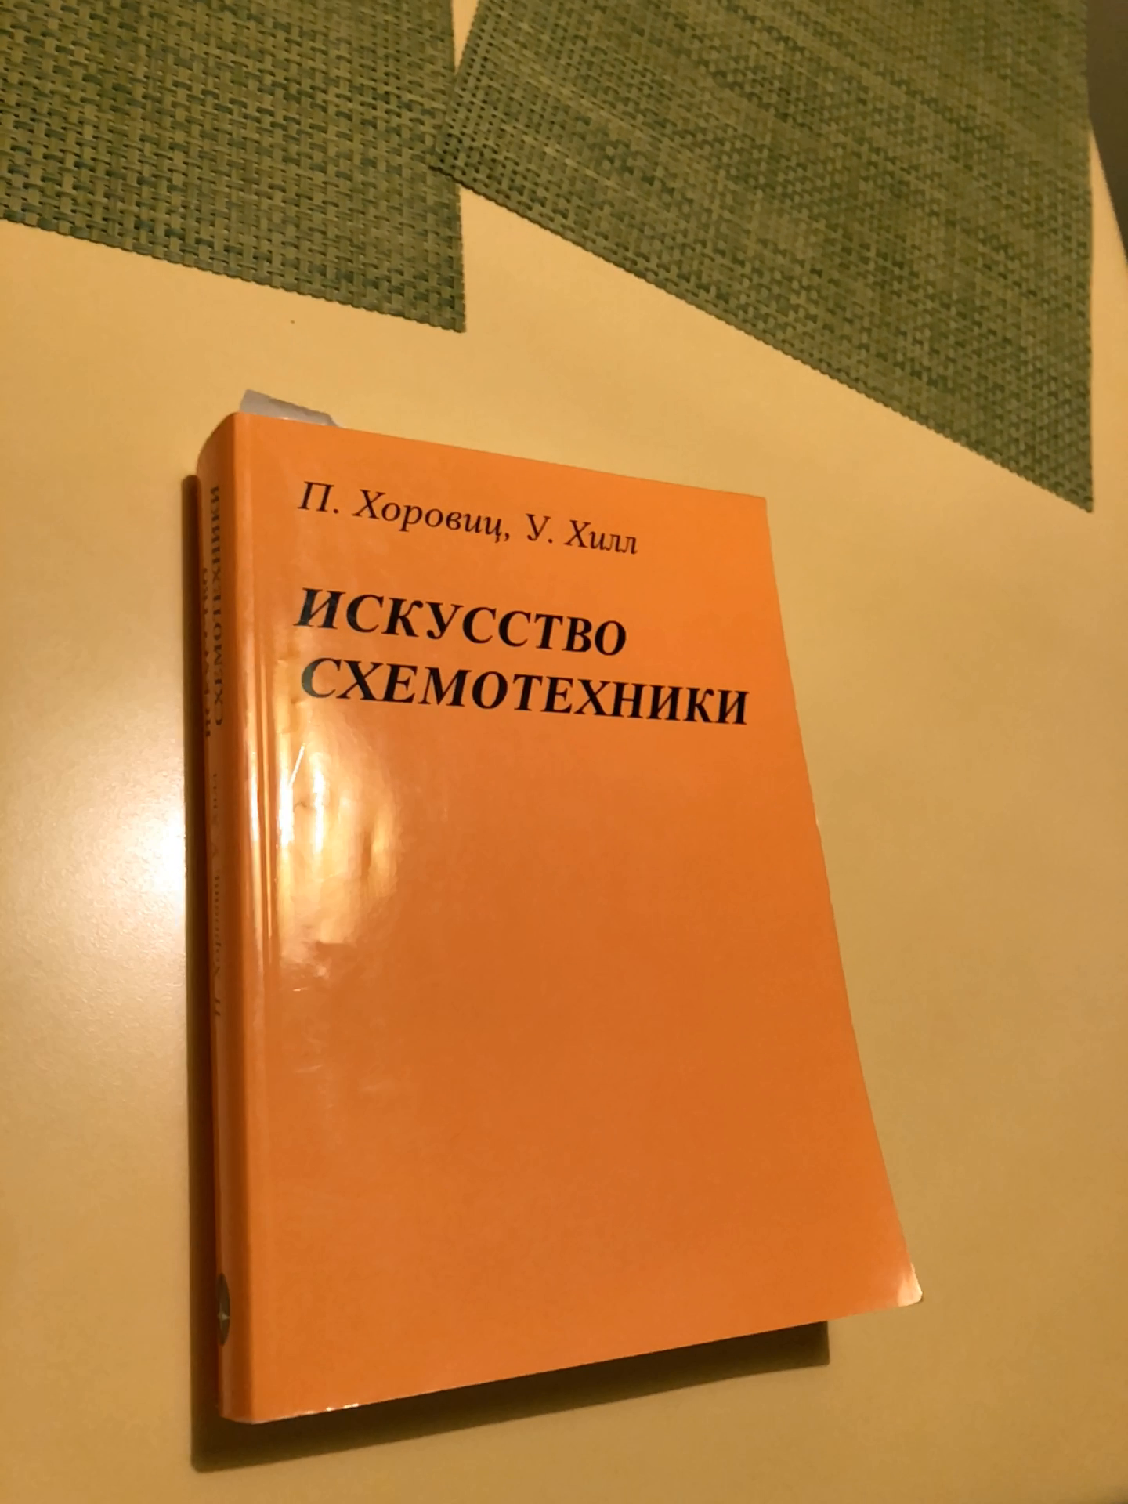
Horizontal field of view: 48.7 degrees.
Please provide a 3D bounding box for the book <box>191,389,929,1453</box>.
[{"bbox_3d":[-0.007,0.033,0.333,0.171,0.048,0.238,3,69,-26],"label":"book"}]
